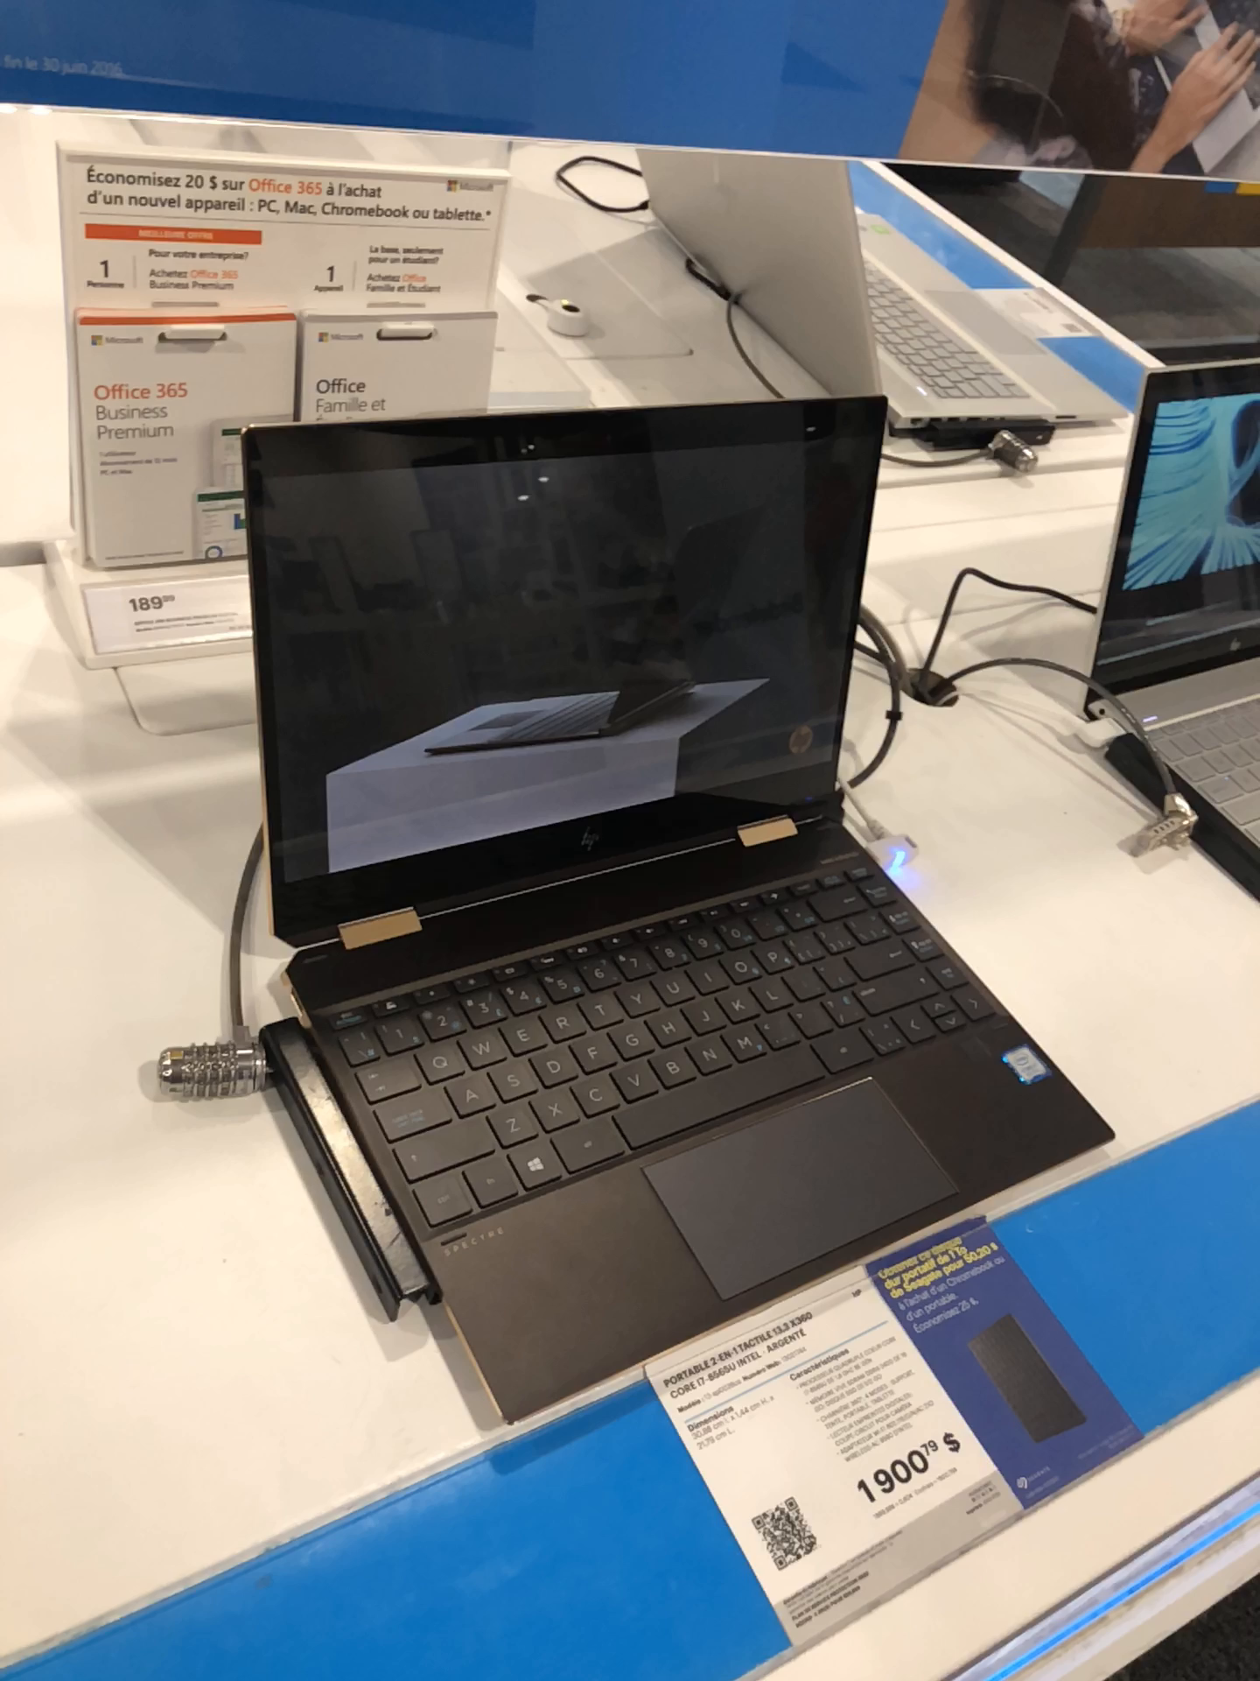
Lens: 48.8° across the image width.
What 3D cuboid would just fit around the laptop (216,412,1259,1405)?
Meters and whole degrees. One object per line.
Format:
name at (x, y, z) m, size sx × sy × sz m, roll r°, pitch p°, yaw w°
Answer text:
laptop at (0.034, -0.005, 0.546) m, size 0.298 × 0.197 × 0.285 m, roll -13°, pitch 49°, yaw -31°
